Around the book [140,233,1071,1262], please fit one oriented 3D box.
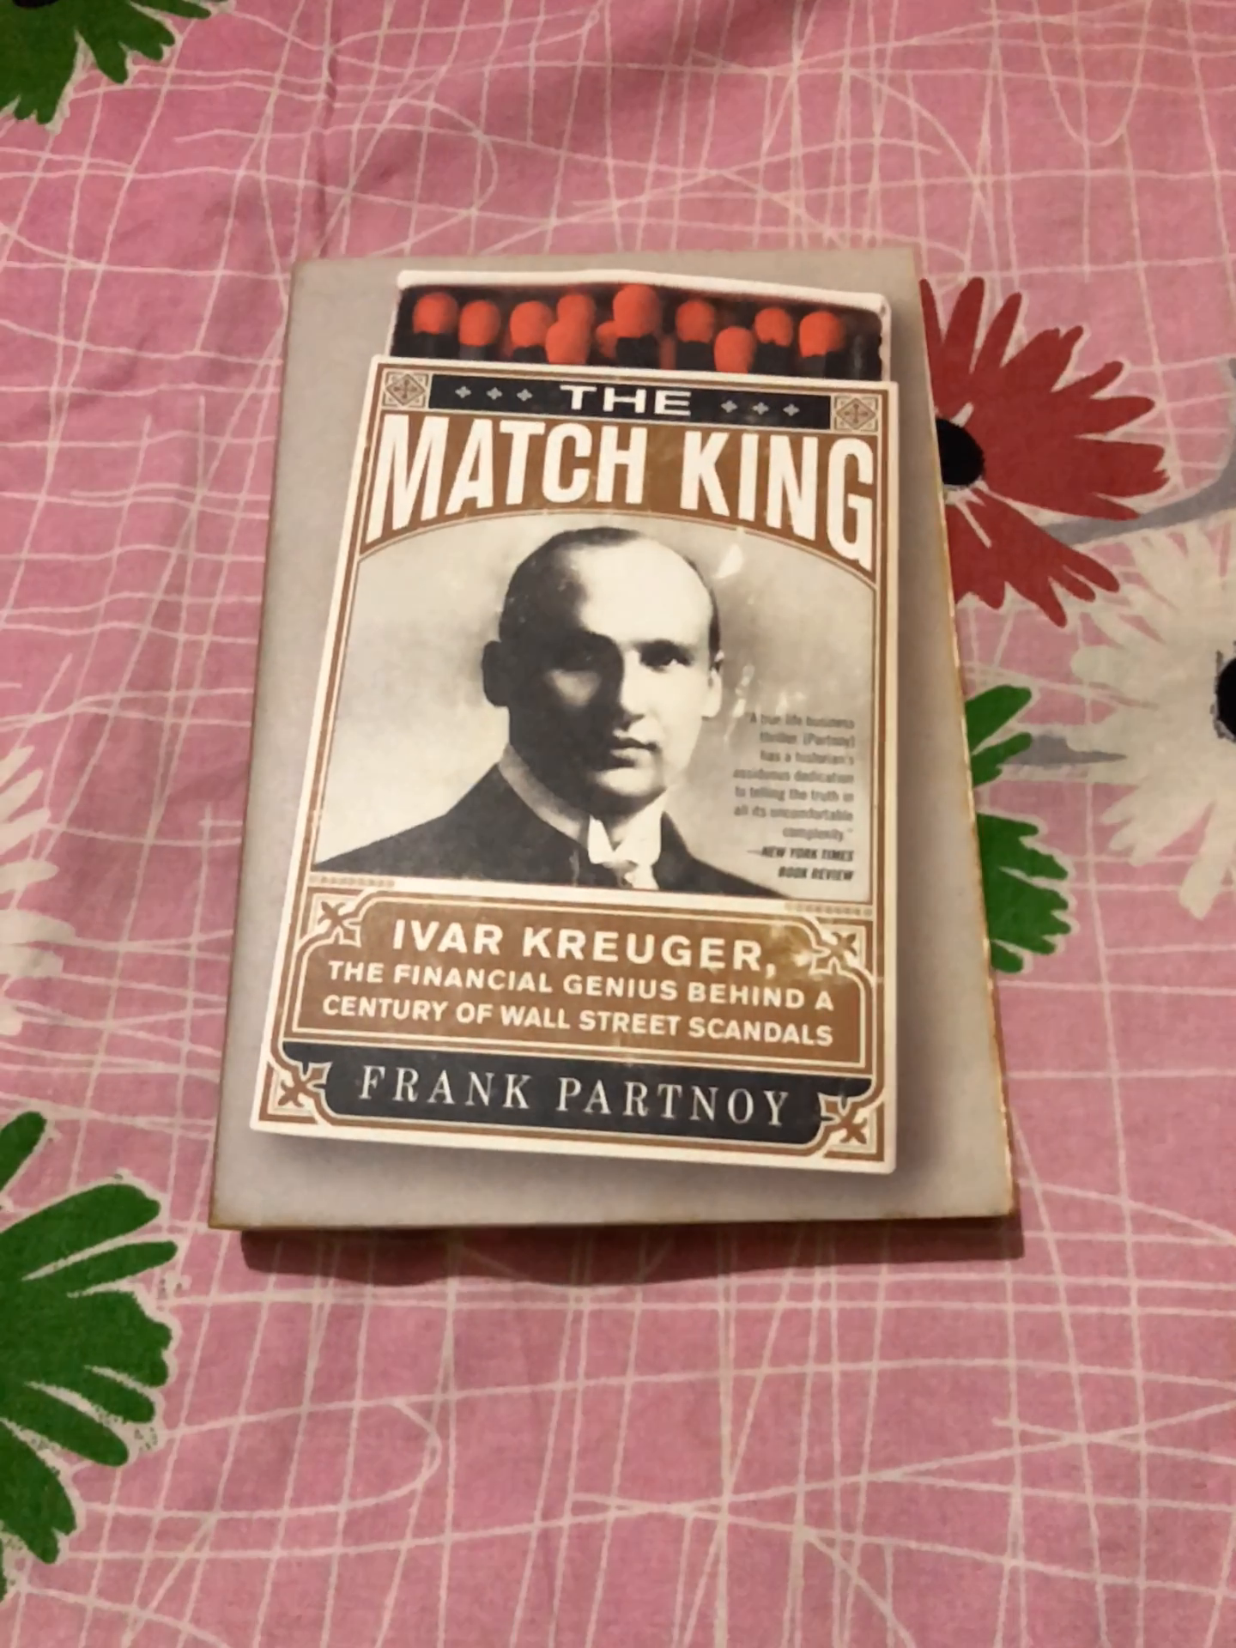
[{"bbox_3d":[-0.005,-0.032,0.306,0.160,0.030,0.240,-1,63,0],"label":"book"}]
